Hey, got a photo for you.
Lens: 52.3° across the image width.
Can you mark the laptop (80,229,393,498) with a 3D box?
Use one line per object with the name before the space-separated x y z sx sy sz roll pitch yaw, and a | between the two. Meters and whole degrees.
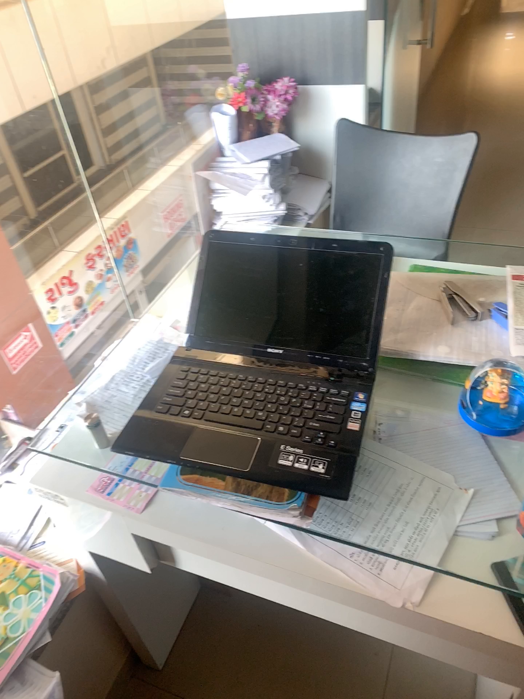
laptop | -0.001 -0.015 0.678 0.285 0.111 0.337 8 42 17
